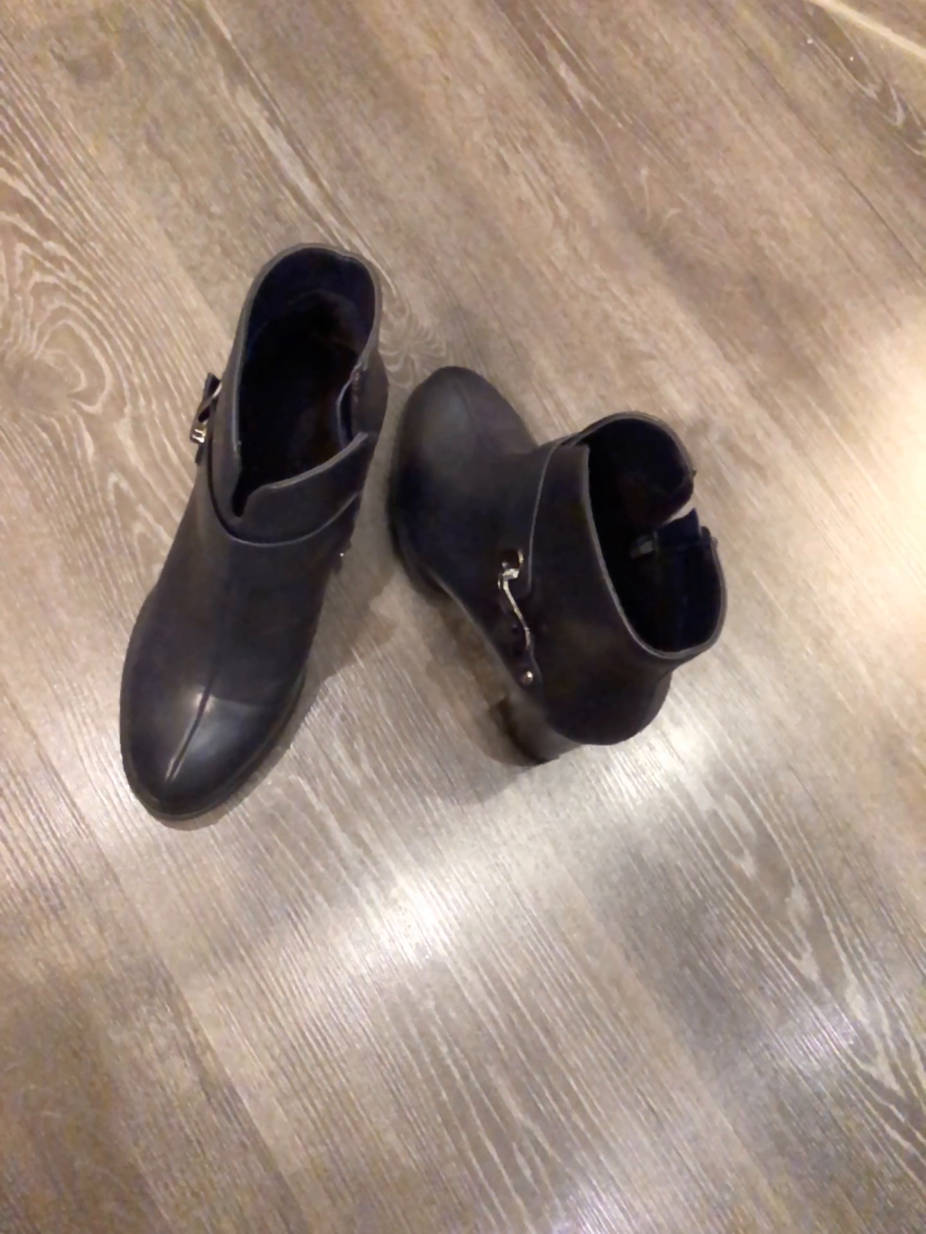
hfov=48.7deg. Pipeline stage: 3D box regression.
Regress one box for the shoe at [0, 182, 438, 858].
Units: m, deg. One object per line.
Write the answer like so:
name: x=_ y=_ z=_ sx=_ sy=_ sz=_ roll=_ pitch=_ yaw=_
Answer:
shoe: x=-0.098 y=-0.021 z=0.429 sx=0.090 sy=0.190 sz=0.210 roll=19 pitch=71 yaw=-4

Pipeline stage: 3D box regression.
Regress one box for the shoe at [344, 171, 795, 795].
shoe: x=0.026 y=-0.045 z=0.468 sx=0.090 sy=0.190 sz=0.210 roll=-16 pitch=77 yaw=-15
